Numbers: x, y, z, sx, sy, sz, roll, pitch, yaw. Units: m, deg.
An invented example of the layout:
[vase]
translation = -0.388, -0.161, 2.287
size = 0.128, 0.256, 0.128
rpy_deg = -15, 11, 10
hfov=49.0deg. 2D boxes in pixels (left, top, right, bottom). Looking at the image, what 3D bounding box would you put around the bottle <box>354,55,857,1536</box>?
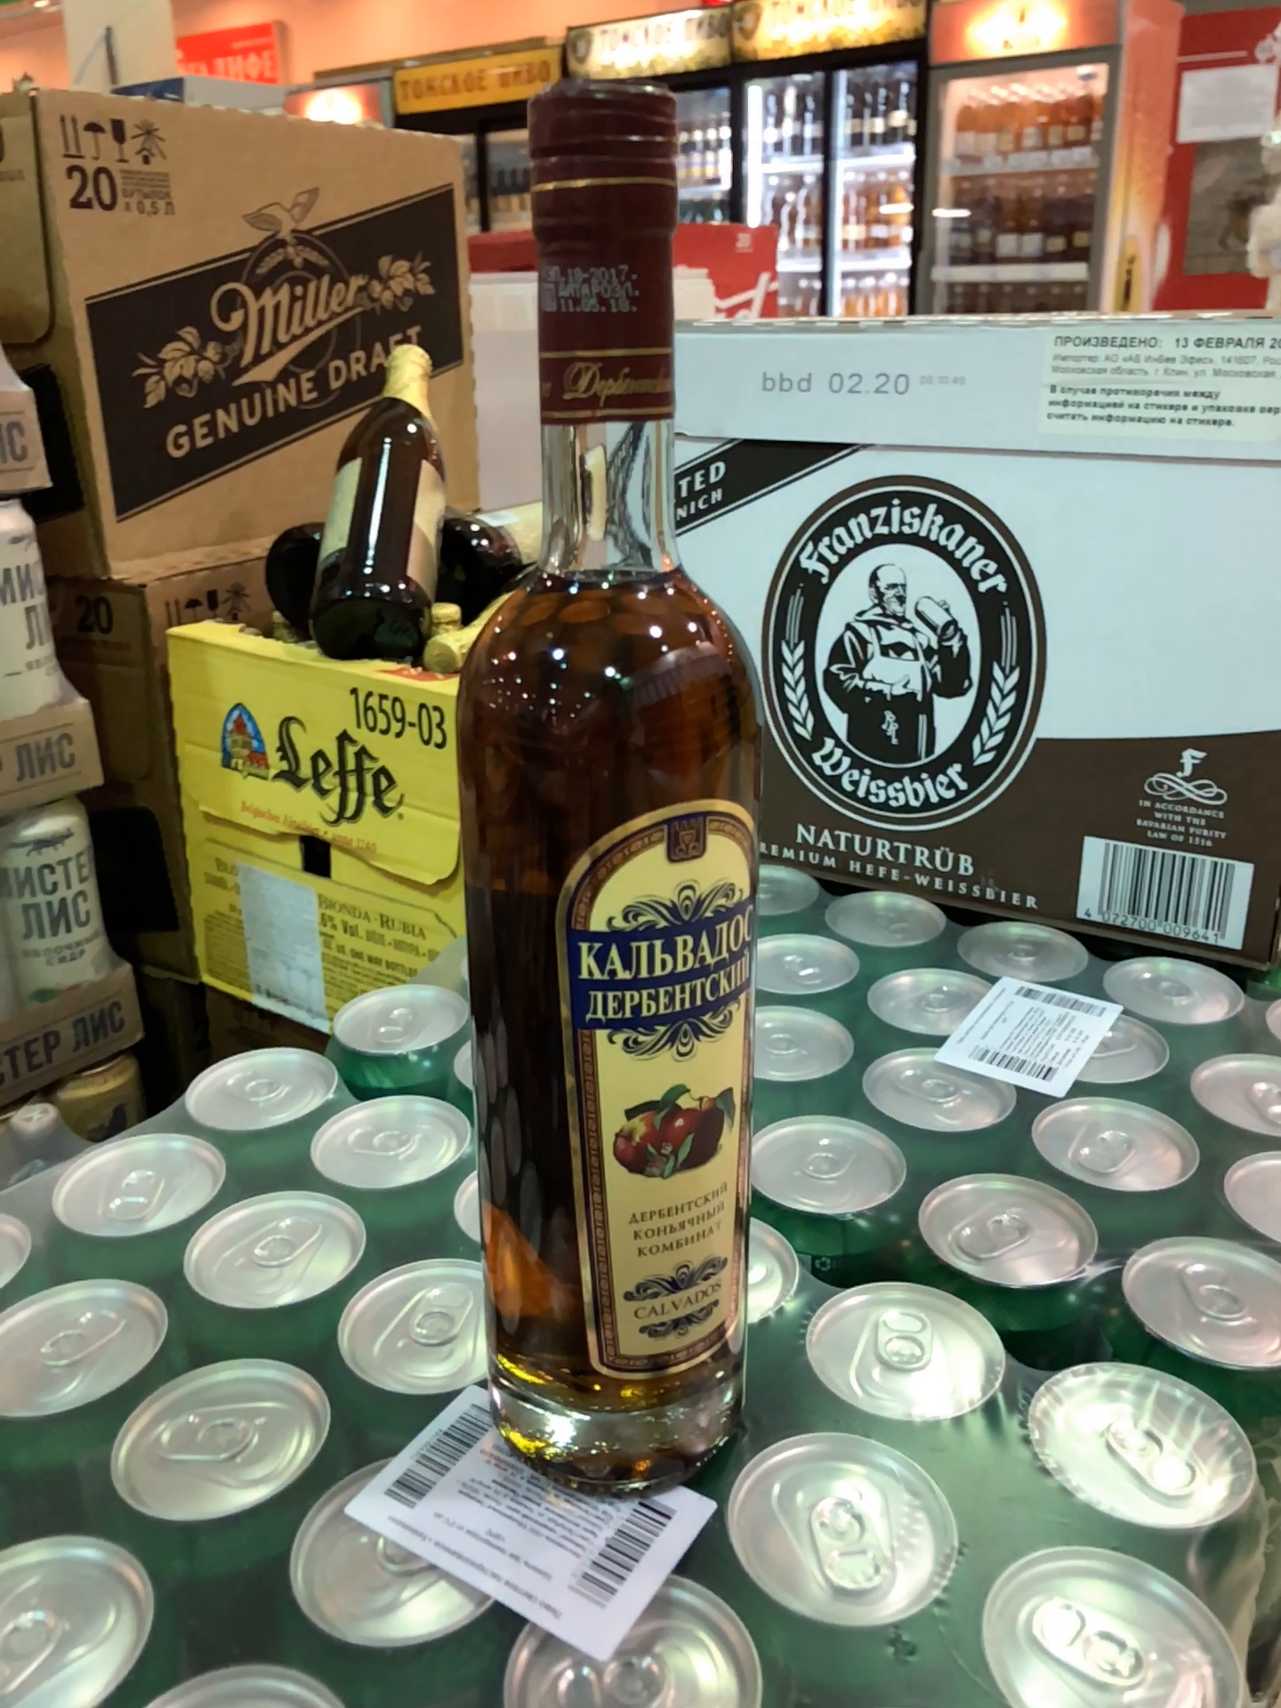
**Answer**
[bottle]
translation = -0.005, -0.001, 0.314
size = 0.070, 0.298, 0.070
rpy_deg = -1, 20, 0
